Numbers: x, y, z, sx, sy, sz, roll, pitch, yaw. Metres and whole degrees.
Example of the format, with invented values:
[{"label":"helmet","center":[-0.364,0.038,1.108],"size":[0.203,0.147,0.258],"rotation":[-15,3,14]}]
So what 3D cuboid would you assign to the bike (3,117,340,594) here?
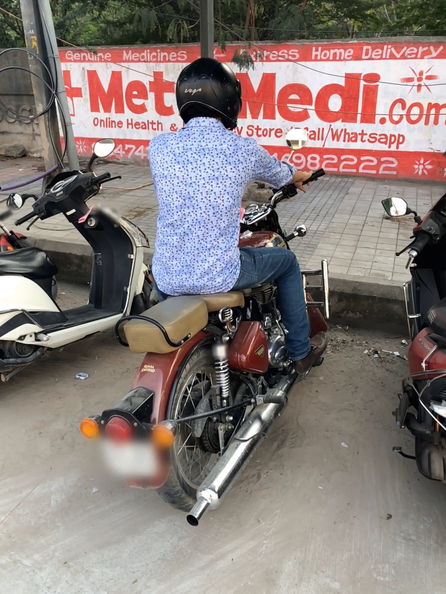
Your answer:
[{"label":"bike","center":[-0.055,0.025,2.252],"size":[0.794,1.256,1.556],"rotation":[9,31,21]}]
